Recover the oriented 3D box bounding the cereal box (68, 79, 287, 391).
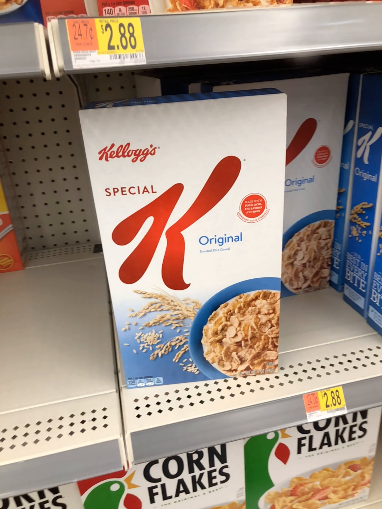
[{"bbox_3d":[-0.004,-0.010,0.473,0.190,0.329,0.080,-5,26,-3],"label":"cereal box"}]
